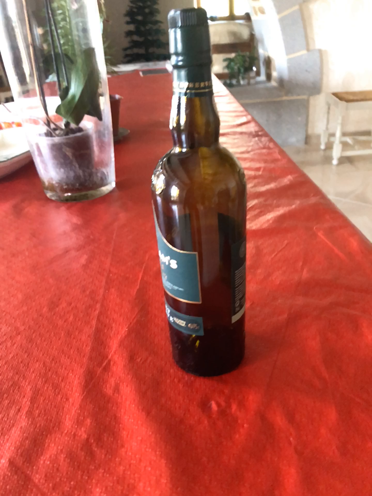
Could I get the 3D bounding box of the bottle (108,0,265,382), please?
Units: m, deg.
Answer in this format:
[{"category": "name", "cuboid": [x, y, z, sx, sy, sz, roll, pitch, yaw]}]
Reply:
[{"category": "bottle", "cuboid": [0.009, -0.032, 0.345, 0.090, 0.298, 0.091, -3, 29, 2]}]
